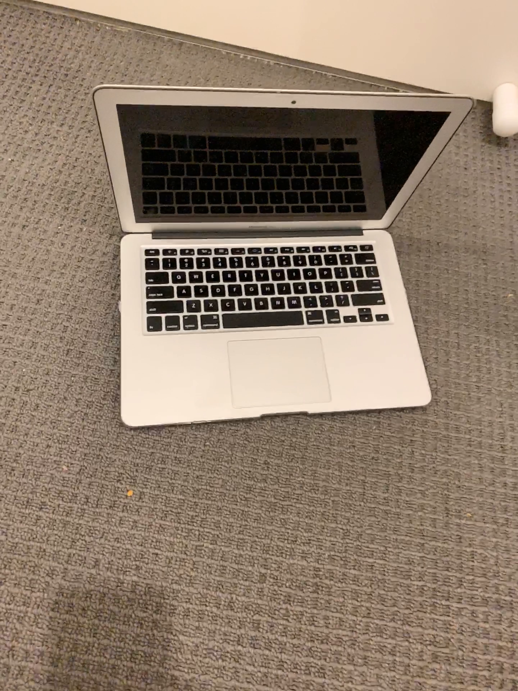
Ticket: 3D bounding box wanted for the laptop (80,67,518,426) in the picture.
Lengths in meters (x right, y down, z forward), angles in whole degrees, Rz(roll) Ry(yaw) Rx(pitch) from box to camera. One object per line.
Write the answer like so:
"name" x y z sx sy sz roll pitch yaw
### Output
"laptop" 0.024 -0.078 0.492 0.322 0.215 0.226 -3 65 -9
